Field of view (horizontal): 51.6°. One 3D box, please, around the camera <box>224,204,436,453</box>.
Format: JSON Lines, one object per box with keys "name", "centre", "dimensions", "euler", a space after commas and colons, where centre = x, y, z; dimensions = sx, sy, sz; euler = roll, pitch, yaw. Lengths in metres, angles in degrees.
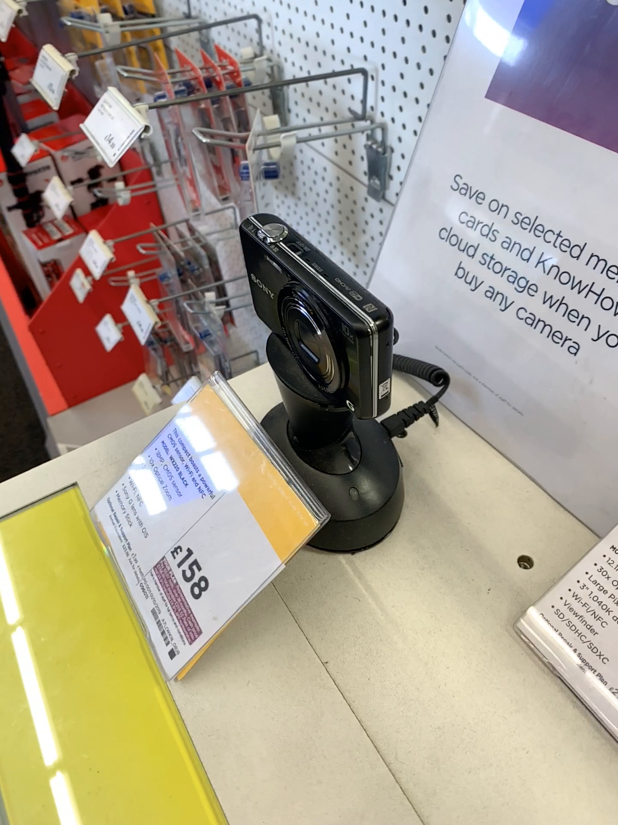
{"name": "camera", "centre": [0.005, -0.038, 0.262], "dimensions": [0.030, 0.050, 0.101], "euler": [-27, 50, -19]}
